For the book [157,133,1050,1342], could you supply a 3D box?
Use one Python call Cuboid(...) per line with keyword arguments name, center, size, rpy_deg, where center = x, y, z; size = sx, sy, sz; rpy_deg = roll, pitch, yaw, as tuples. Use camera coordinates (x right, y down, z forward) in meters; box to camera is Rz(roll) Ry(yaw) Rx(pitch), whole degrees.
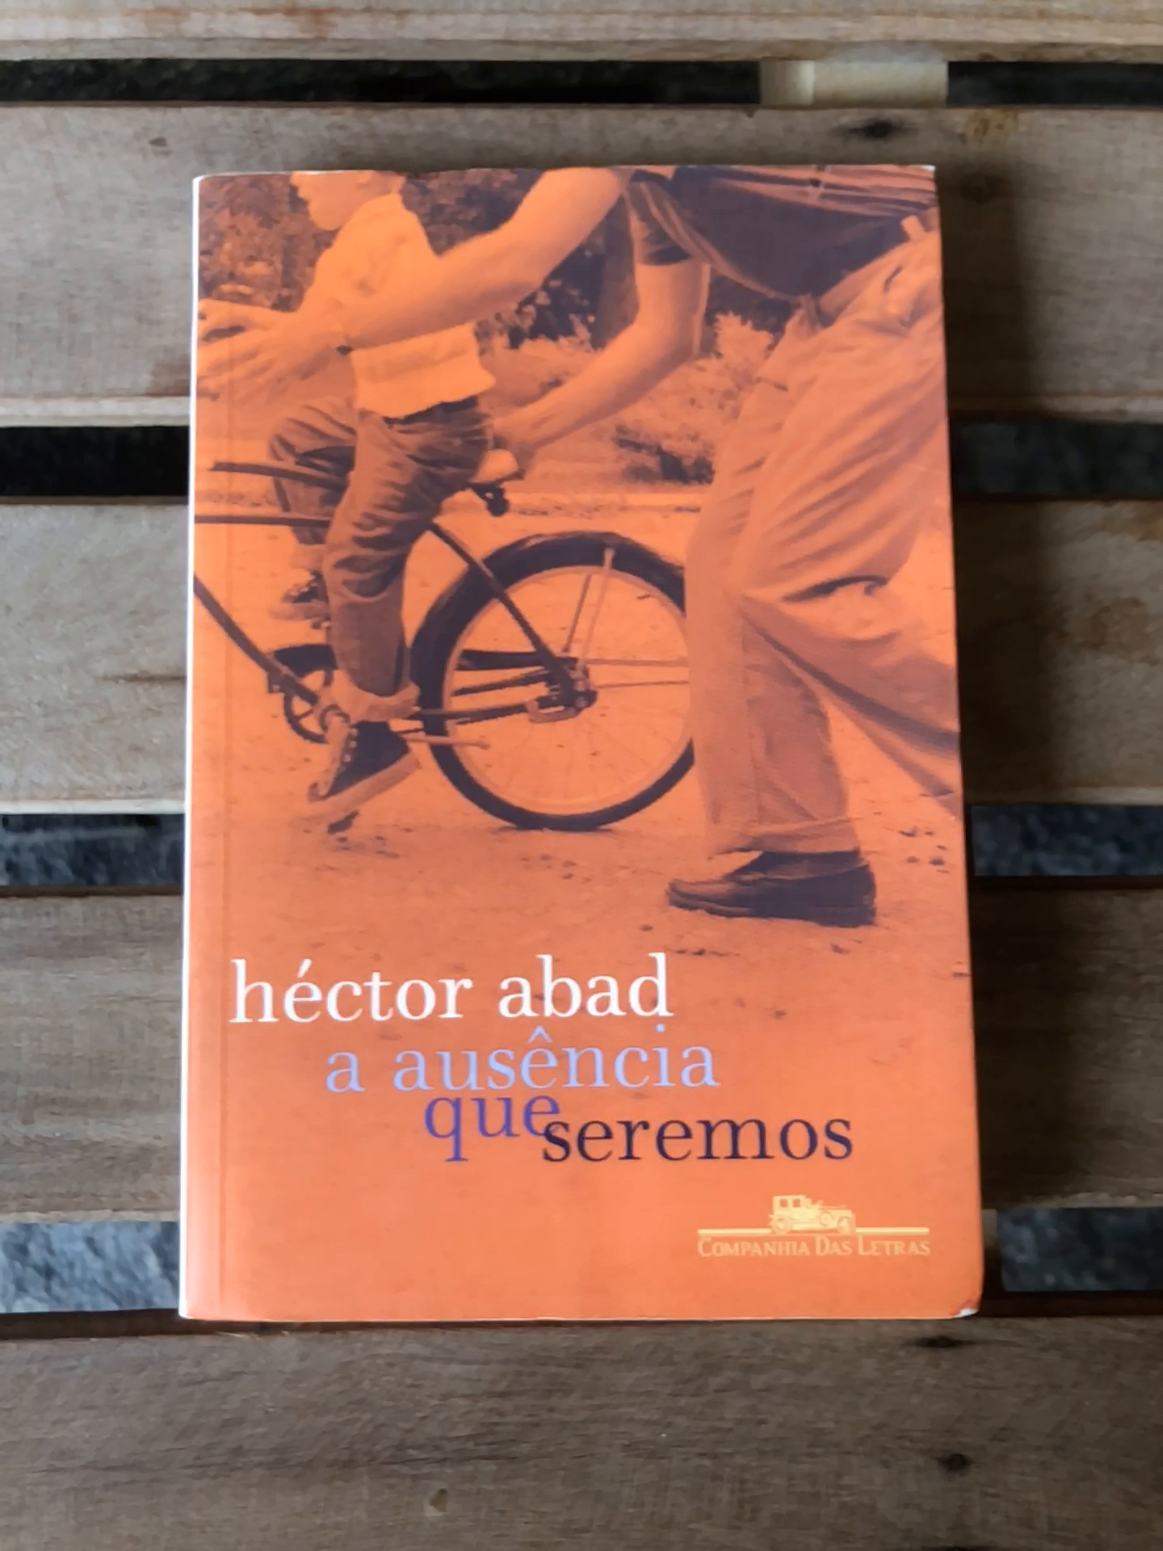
Cuboid(name="book", center=(0.002, -0.009, 0.227), size=(0.142, 0.020, 0.200), rpy_deg=(-1, 85, 0))
